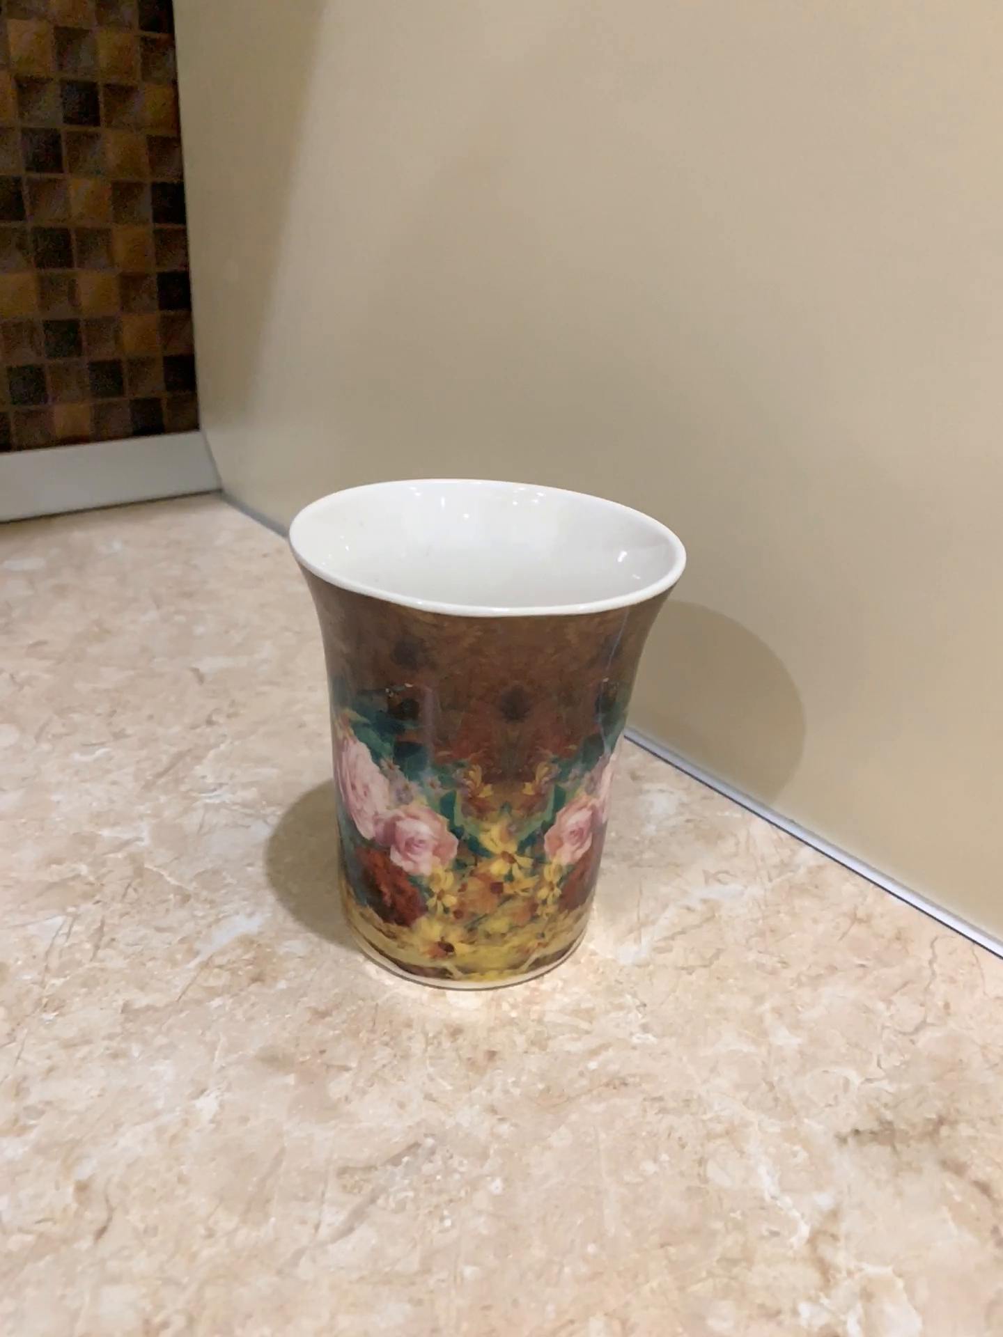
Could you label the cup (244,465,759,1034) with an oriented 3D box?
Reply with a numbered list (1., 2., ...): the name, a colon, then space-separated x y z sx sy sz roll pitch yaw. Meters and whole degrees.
1. cup: -0.002 0.014 0.257 0.094 0.096 0.102 3 26 -1
